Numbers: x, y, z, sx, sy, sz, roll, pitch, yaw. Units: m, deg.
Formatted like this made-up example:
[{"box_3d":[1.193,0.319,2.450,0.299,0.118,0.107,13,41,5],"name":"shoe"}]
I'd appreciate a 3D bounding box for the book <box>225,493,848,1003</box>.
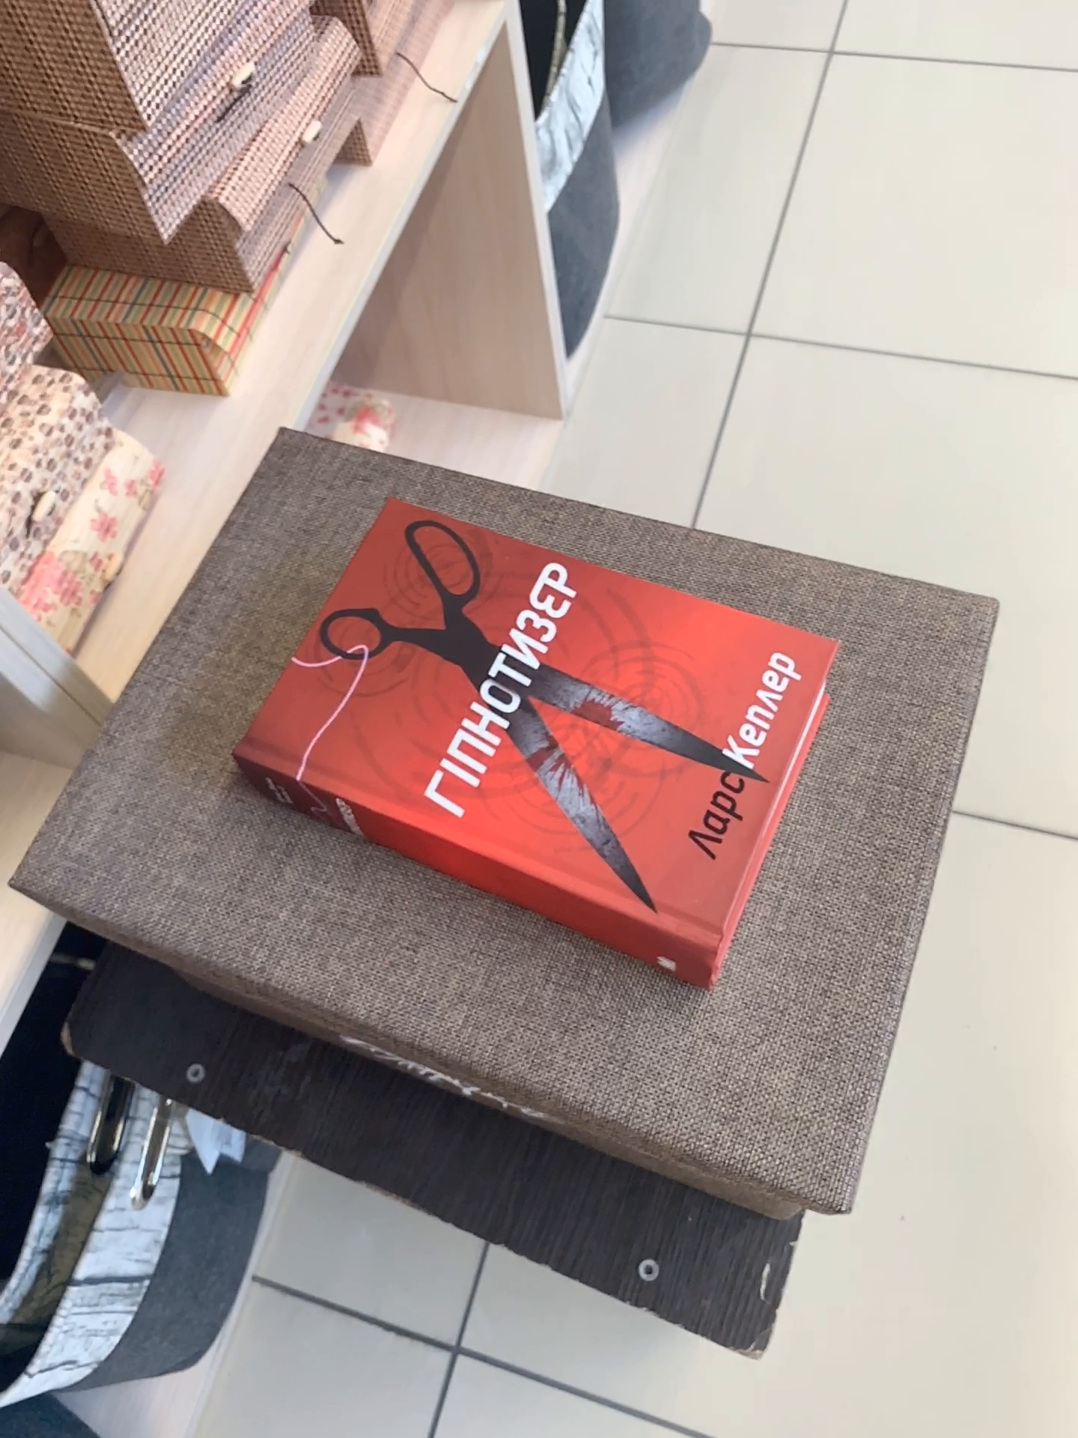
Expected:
[{"box_3d":[0.002,0.006,0.436,0.195,0.060,0.132,19,69,16],"name":"book"}]
